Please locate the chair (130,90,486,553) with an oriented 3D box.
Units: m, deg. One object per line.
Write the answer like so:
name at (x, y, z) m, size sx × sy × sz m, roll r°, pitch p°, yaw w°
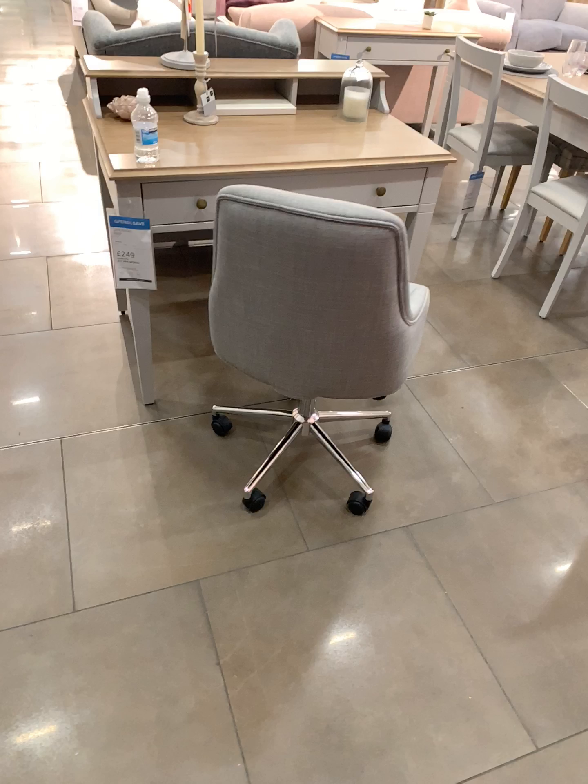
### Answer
chair at (0.052, -0.190, 1.565) m, size 0.625 × 0.890 × 0.641 m, roll 14°, pitch 40°, yaw 9°
